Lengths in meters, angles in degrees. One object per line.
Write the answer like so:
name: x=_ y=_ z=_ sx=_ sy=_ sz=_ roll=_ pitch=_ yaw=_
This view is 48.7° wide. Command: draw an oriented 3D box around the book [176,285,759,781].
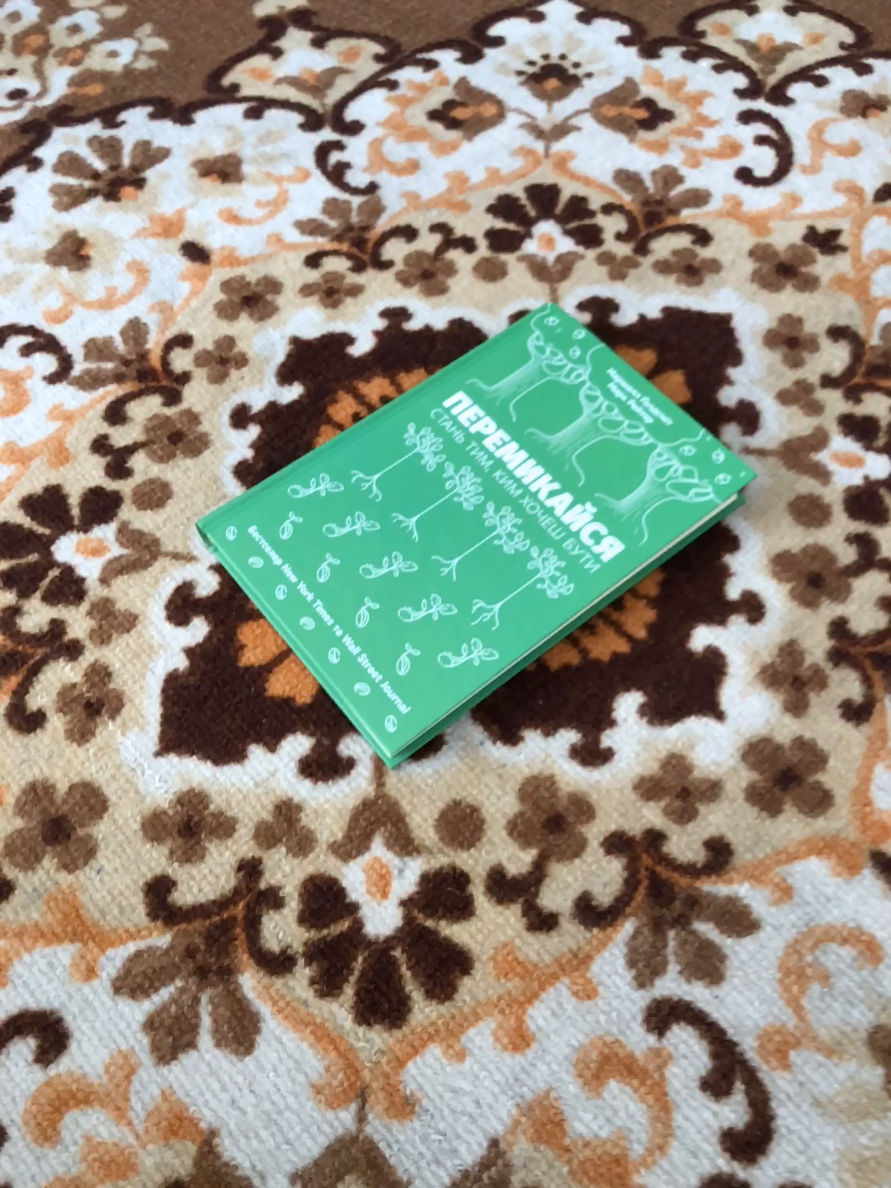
book: x=0.010 y=-0.038 z=0.420 sx=0.202 sy=0.023 sz=0.138 roll=-36 pitch=66 yaw=-17
